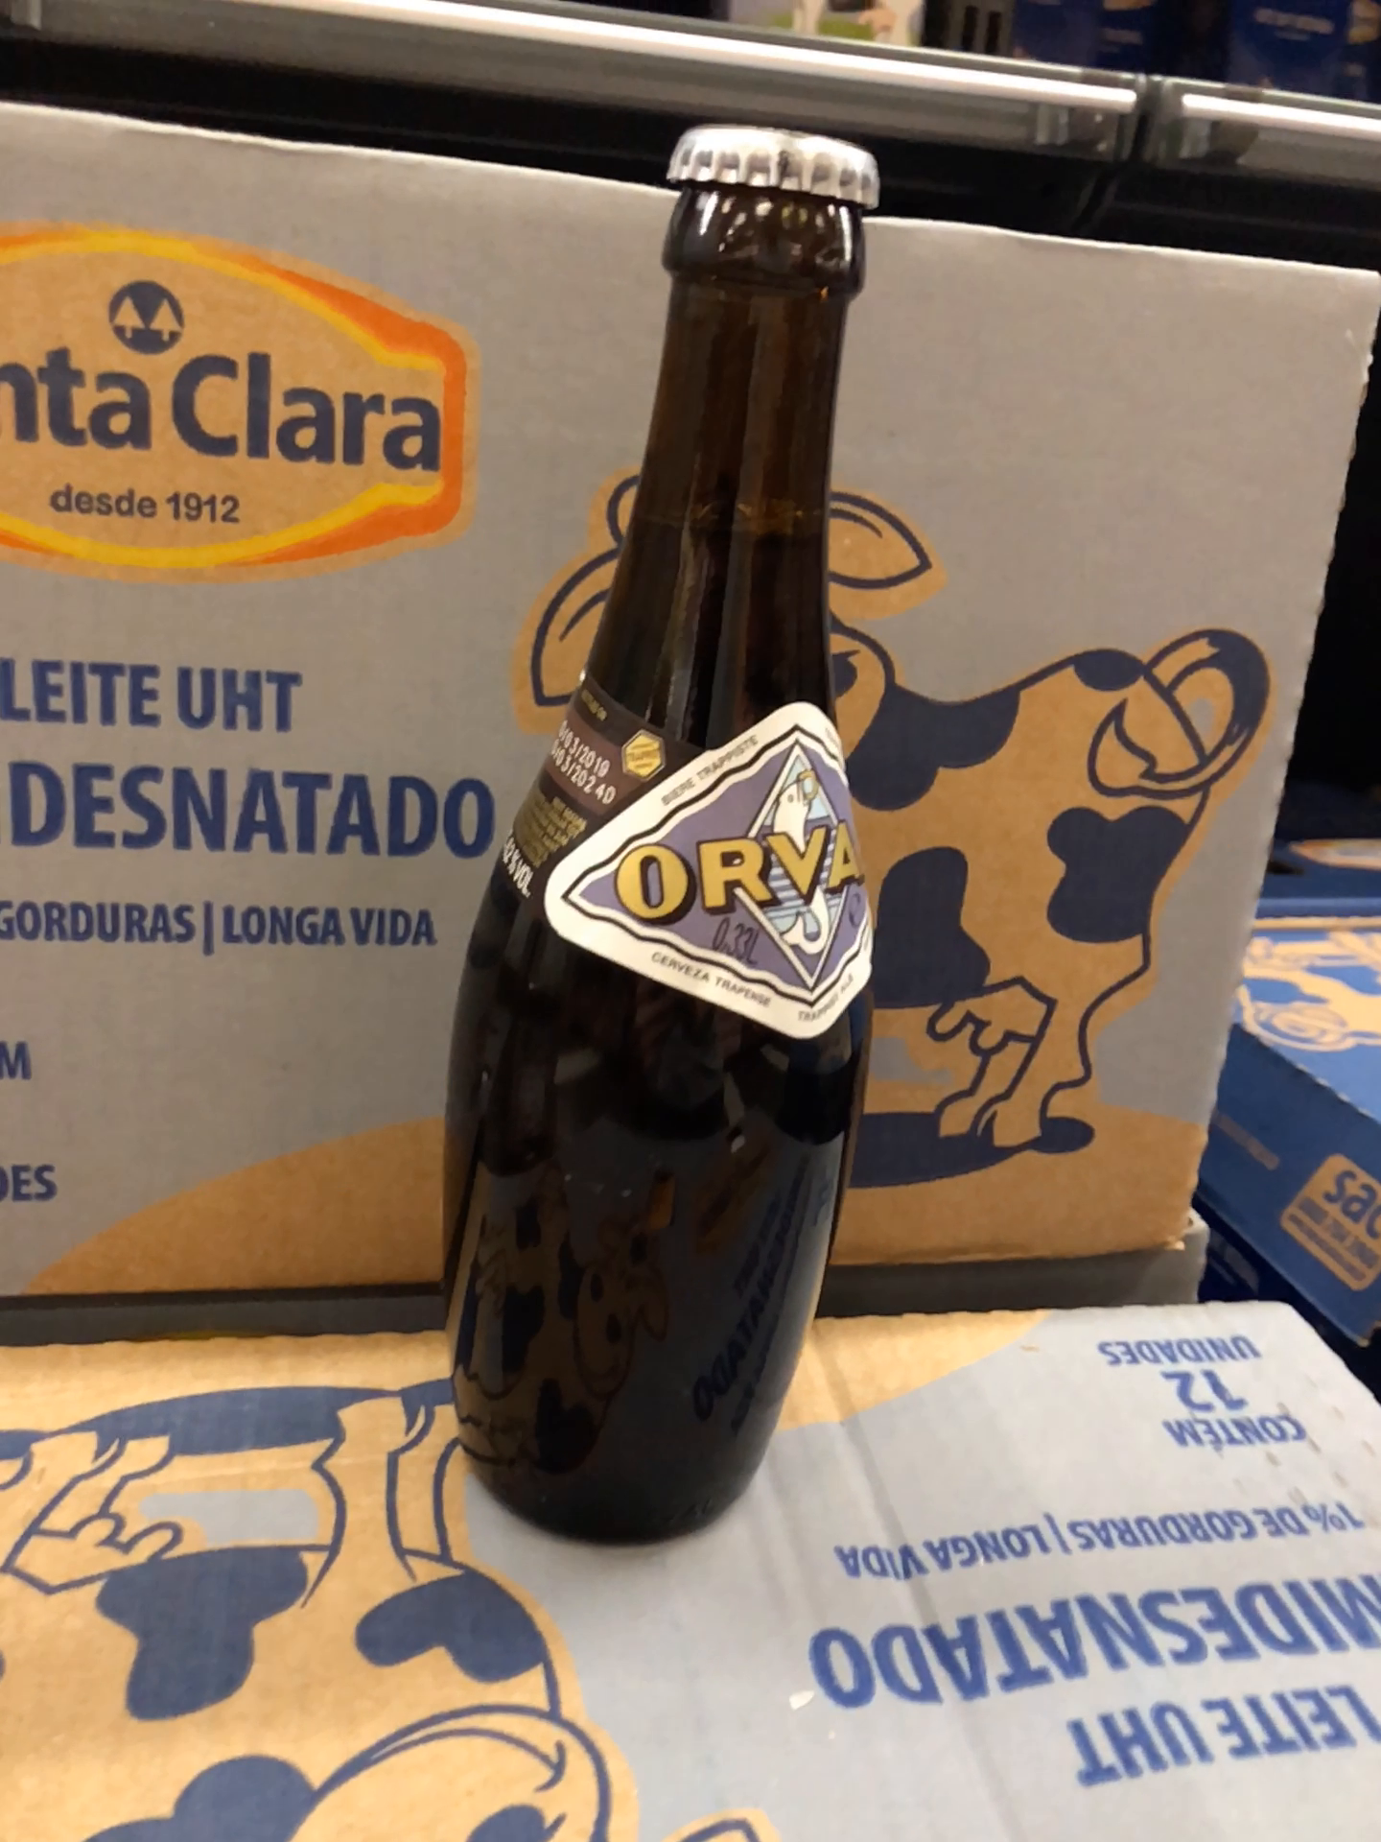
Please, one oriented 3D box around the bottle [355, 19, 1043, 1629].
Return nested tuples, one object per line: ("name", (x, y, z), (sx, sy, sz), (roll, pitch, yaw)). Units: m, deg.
("bottle", (-0.005, -0.010, 0.238), (0.070, 0.209, 0.060), (-11, 22, -41))
